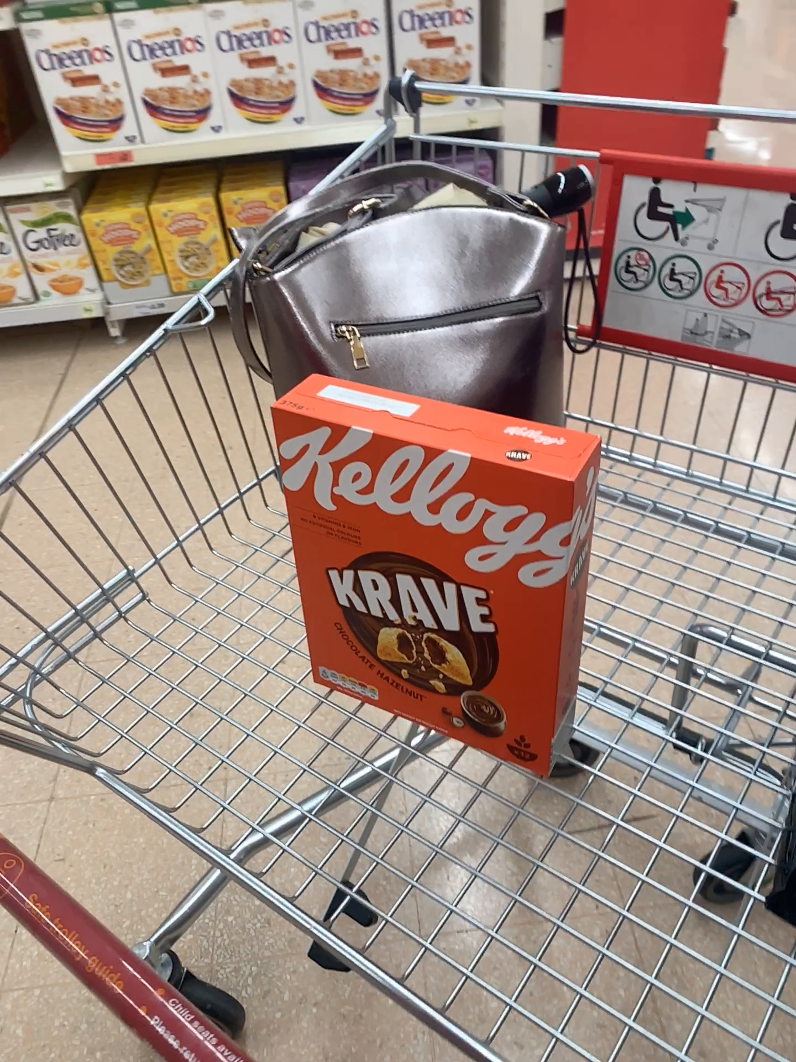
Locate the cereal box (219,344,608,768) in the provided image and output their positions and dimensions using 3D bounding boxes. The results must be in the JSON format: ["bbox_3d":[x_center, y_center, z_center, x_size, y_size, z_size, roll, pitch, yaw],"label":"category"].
[{"bbox_3d":[0.007,0.018,0.506,0.211,0.228,0.050,17,42,24],"label":"cereal box"}]
